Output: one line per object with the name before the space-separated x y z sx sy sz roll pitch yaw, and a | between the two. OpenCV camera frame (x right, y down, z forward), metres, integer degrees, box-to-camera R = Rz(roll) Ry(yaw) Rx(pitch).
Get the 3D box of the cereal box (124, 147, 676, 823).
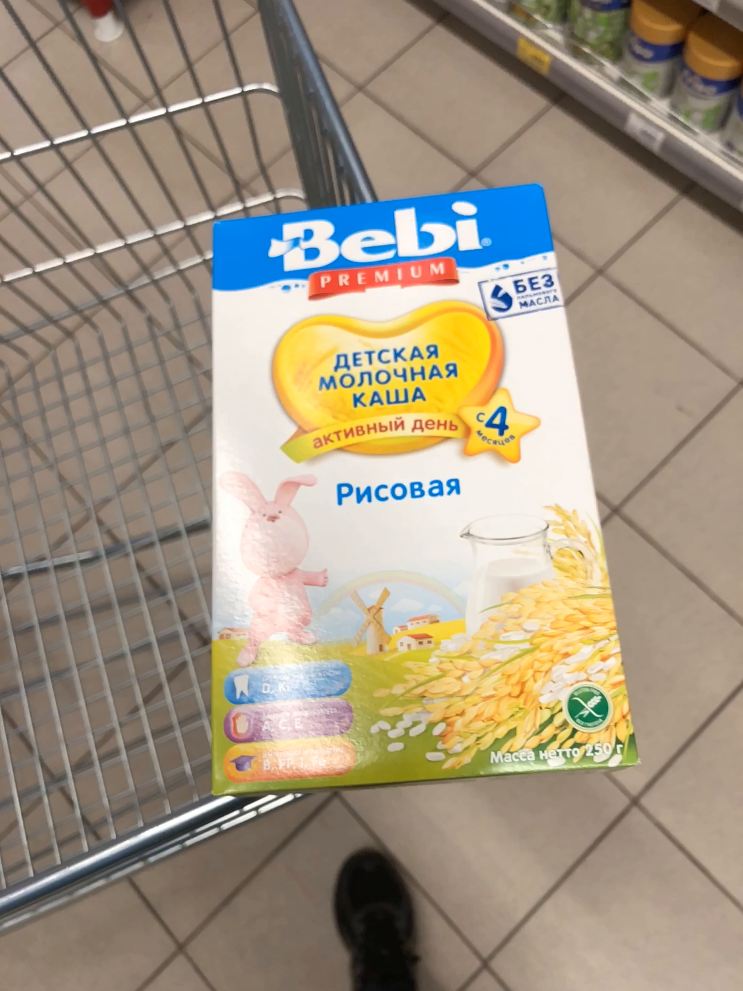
cereal box | 0.002 -0.006 0.283 0.150 0.050 0.210 -6 69 7
